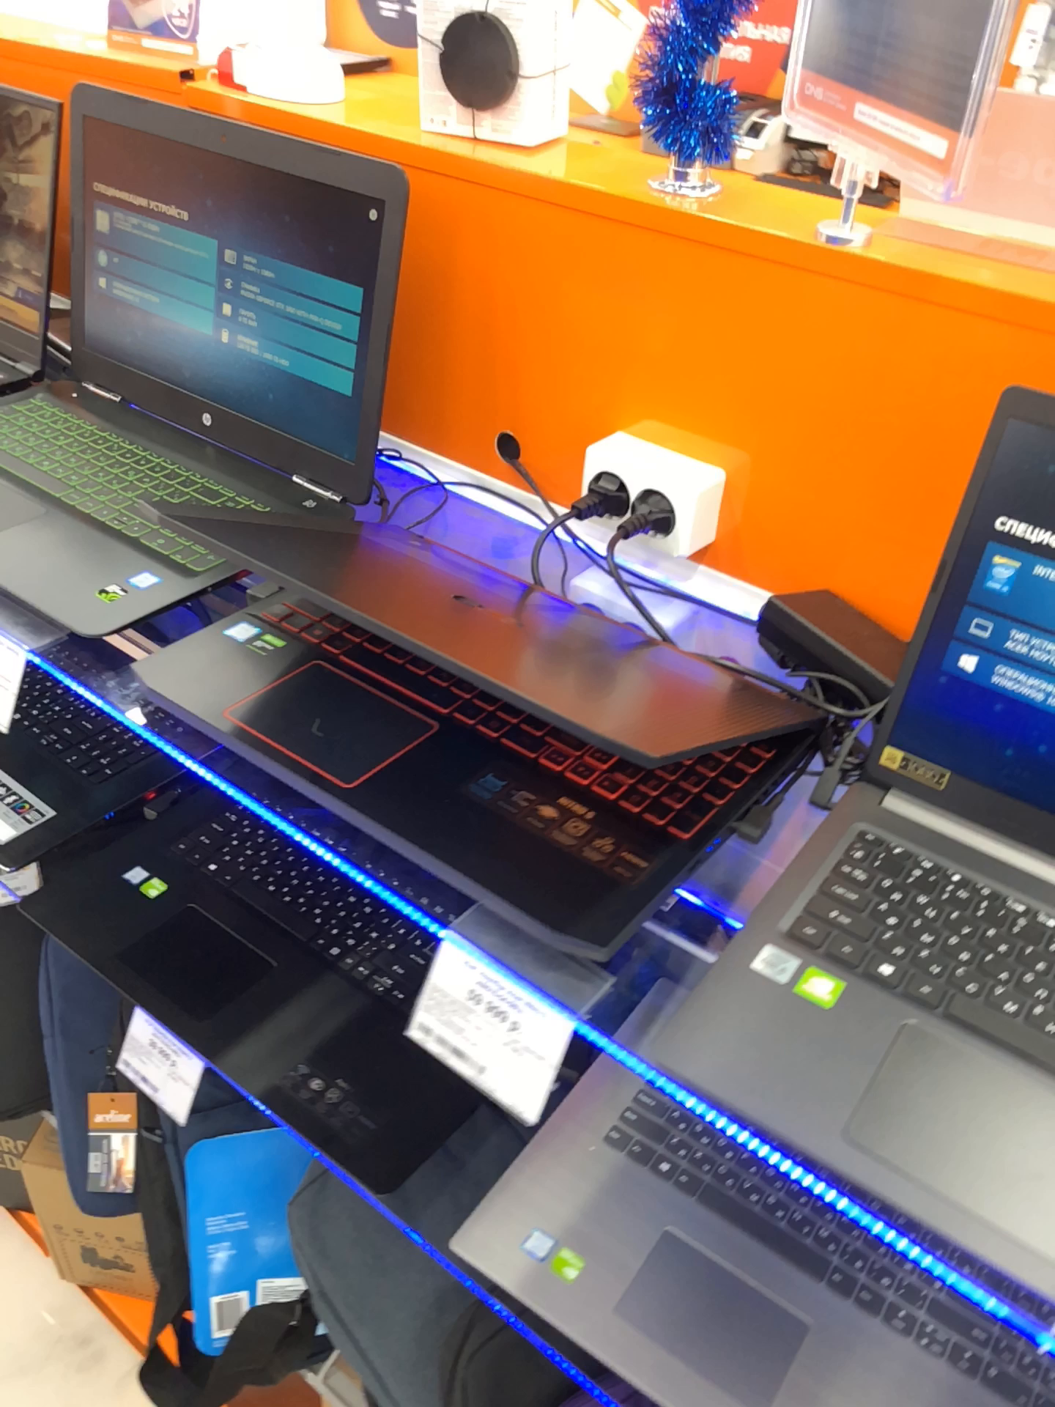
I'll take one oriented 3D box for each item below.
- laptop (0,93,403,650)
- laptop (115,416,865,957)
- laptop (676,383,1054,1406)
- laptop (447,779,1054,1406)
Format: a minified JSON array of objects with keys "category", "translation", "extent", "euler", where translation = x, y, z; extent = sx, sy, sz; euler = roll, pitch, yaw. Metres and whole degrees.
[{"category":"laptop","translation":[-0.342,-0.291,0.894],"extent":[0.415,0.250,0.311],"euler":[26,40,28]},{"category":"laptop","translation":[-0.025,-0.042,0.702],"extent":[0.358,0.103,0.249],"euler":[27,41,27]},{"category":"laptop","translation":[0.299,0.063,0.476],"extent":[0.343,0.226,0.313],"euler":[25,40,27]},{"category":"laptop","translation":[0.211,0.277,0.698],"extent":[0.405,0.220,0.297],"euler":[25,39,28]}]
